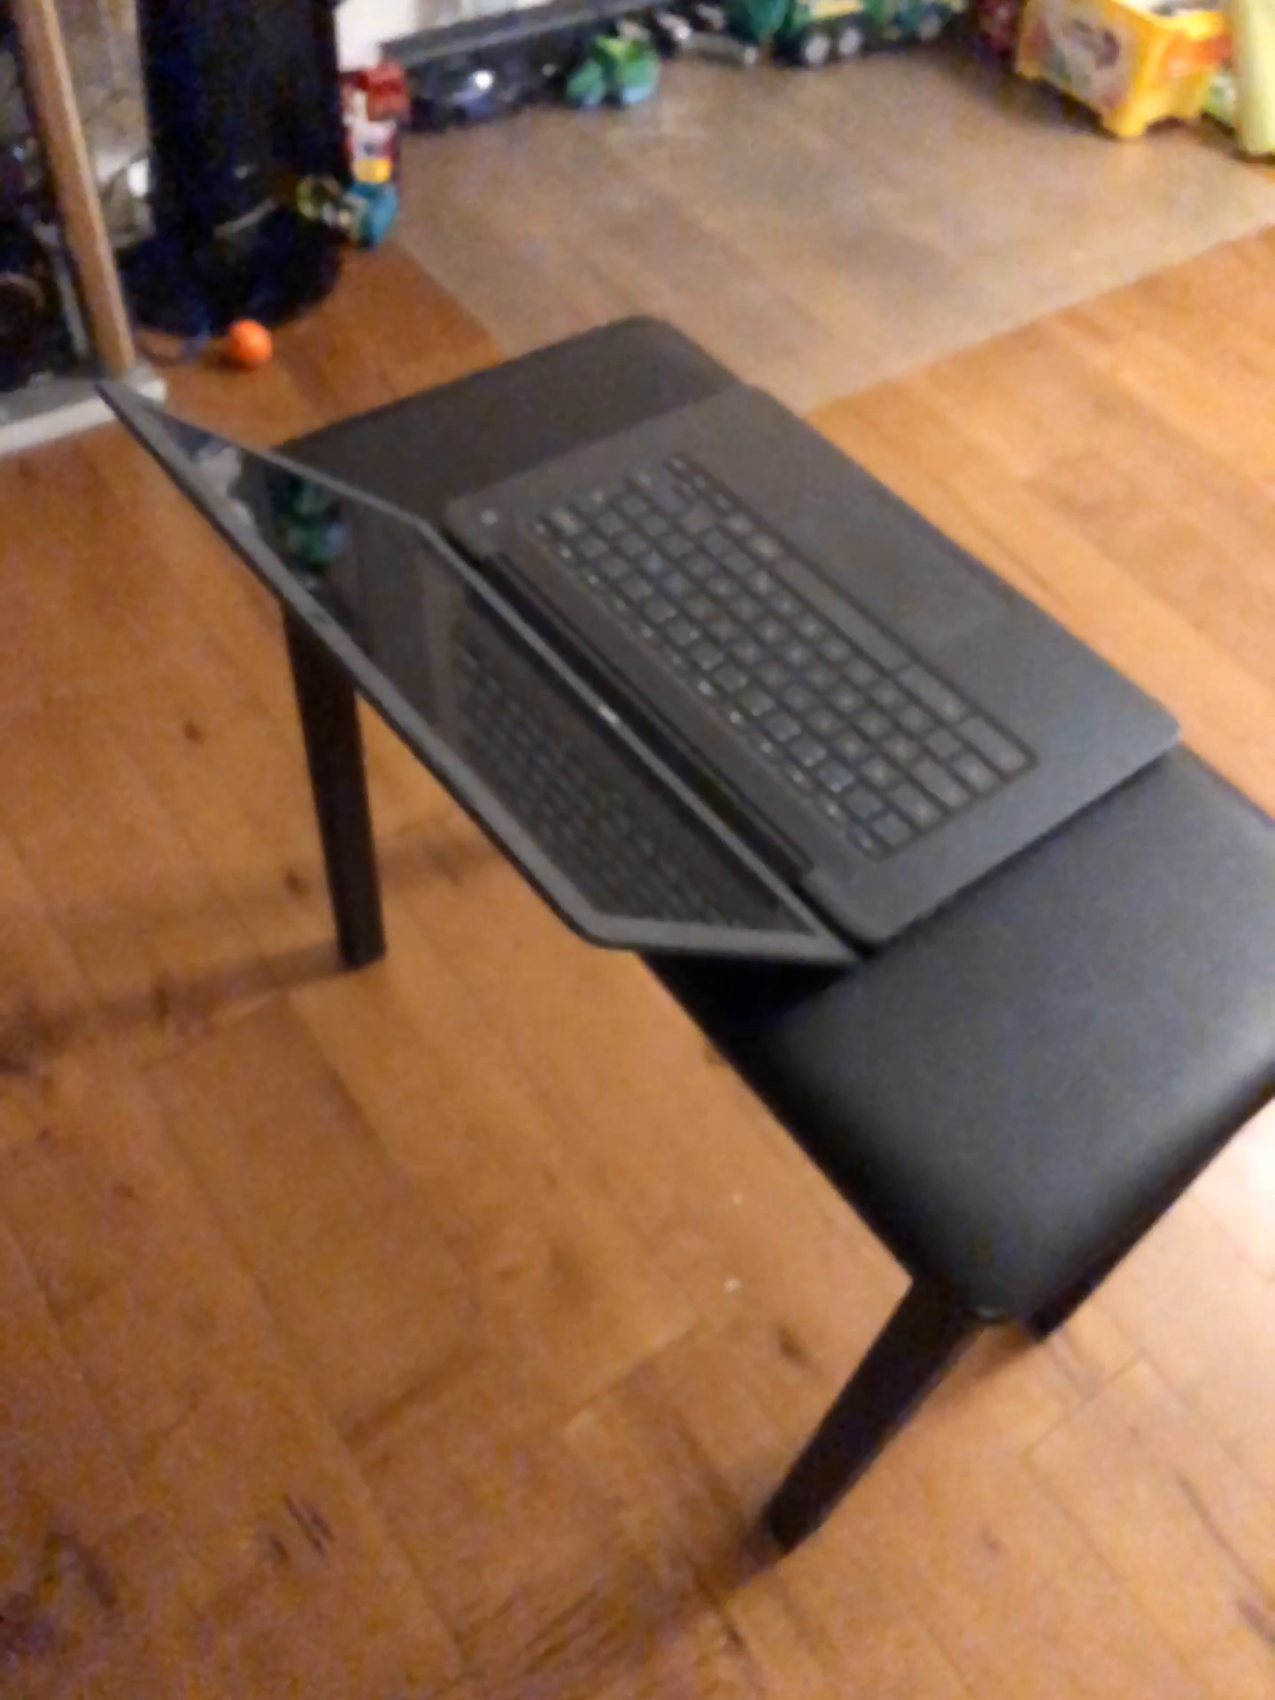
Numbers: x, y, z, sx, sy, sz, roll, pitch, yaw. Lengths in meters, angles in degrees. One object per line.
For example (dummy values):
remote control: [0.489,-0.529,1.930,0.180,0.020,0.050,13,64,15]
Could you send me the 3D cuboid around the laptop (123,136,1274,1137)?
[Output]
laptop: [0.030,-0.124,0.625,0.363,0.143,0.317,-31,62,-24]
